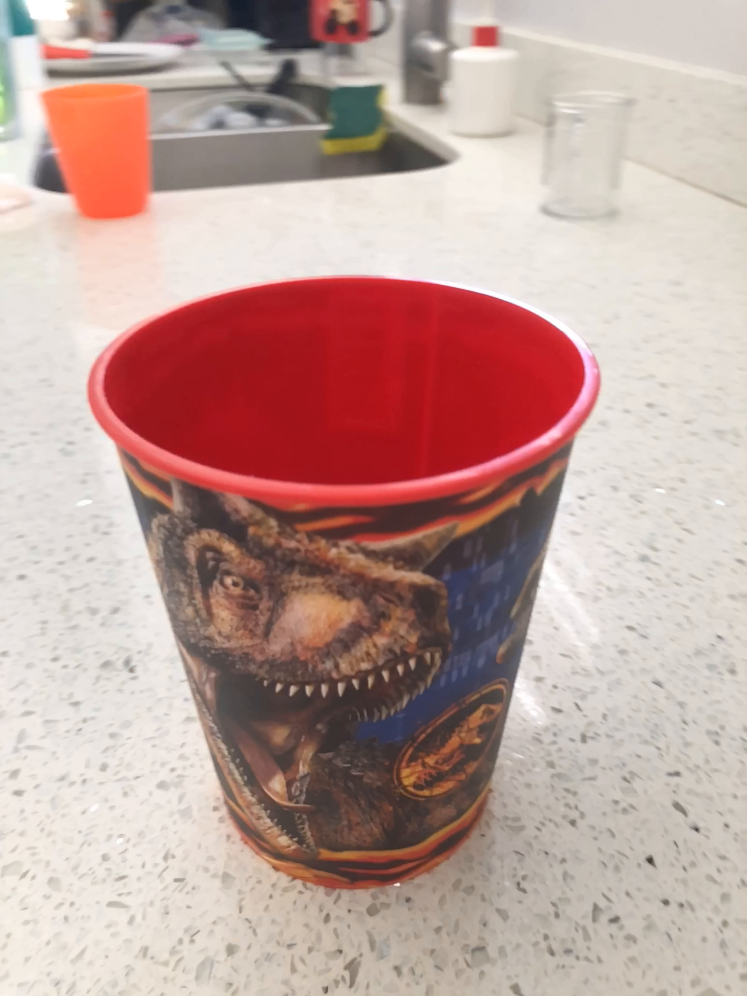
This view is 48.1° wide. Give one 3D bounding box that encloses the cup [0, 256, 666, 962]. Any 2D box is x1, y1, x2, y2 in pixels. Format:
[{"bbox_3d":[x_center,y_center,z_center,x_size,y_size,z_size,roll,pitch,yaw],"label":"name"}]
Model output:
[{"bbox_3d":[-0.009,0.019,0.177,0.090,0.110,0.090,-1,33,1],"label":"cup"}]
